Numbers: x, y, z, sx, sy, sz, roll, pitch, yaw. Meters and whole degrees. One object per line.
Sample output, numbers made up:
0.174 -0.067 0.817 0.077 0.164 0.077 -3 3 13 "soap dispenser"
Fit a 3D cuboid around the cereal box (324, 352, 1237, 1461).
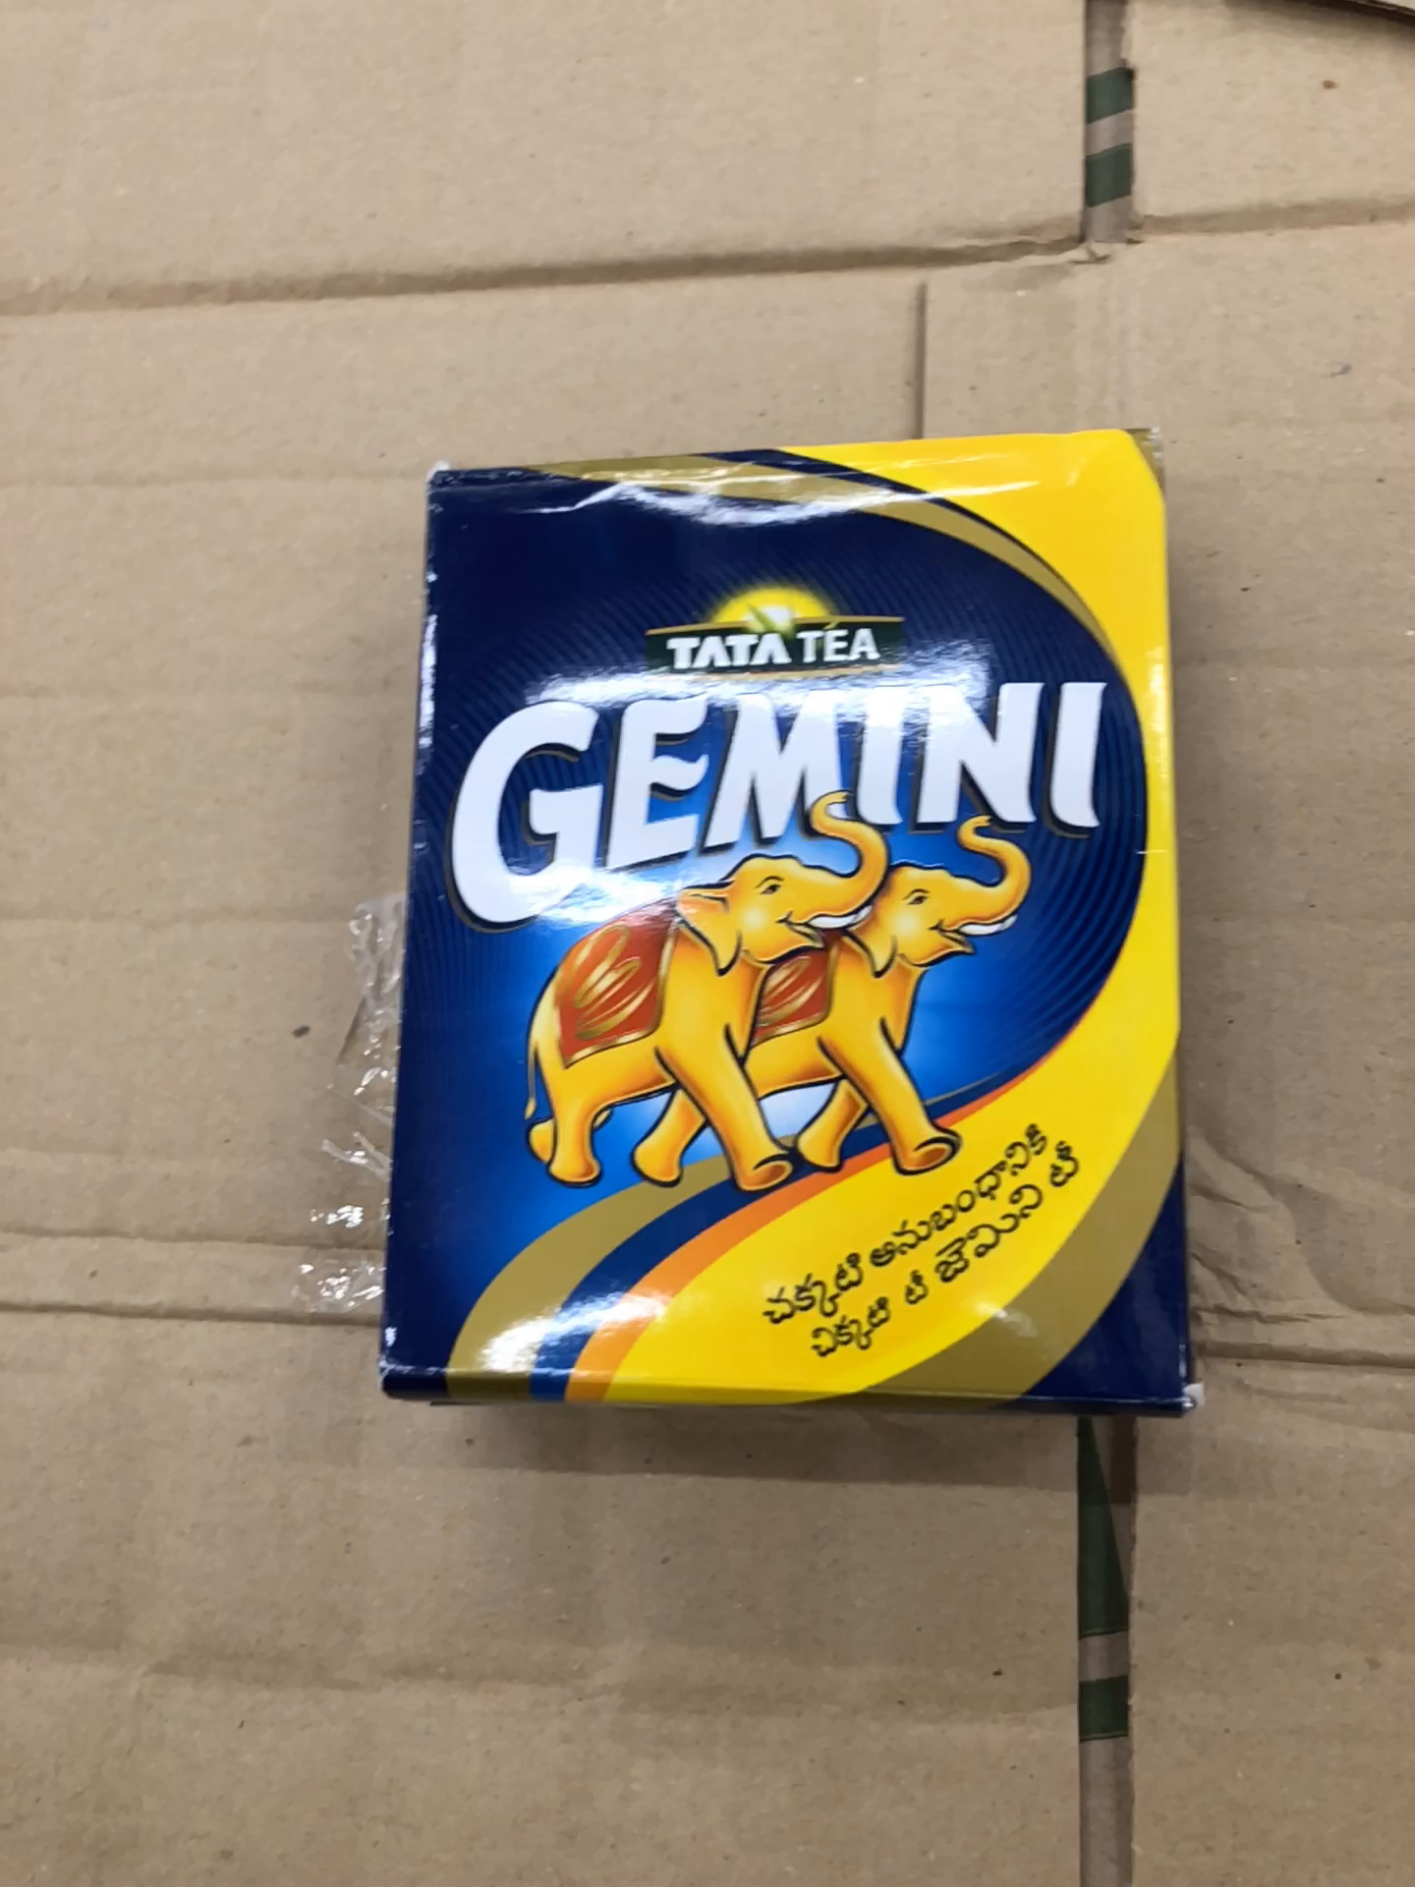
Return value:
0.013 -0.006 0.274 0.140 0.050 0.170 -1 82 10 "cereal box"
